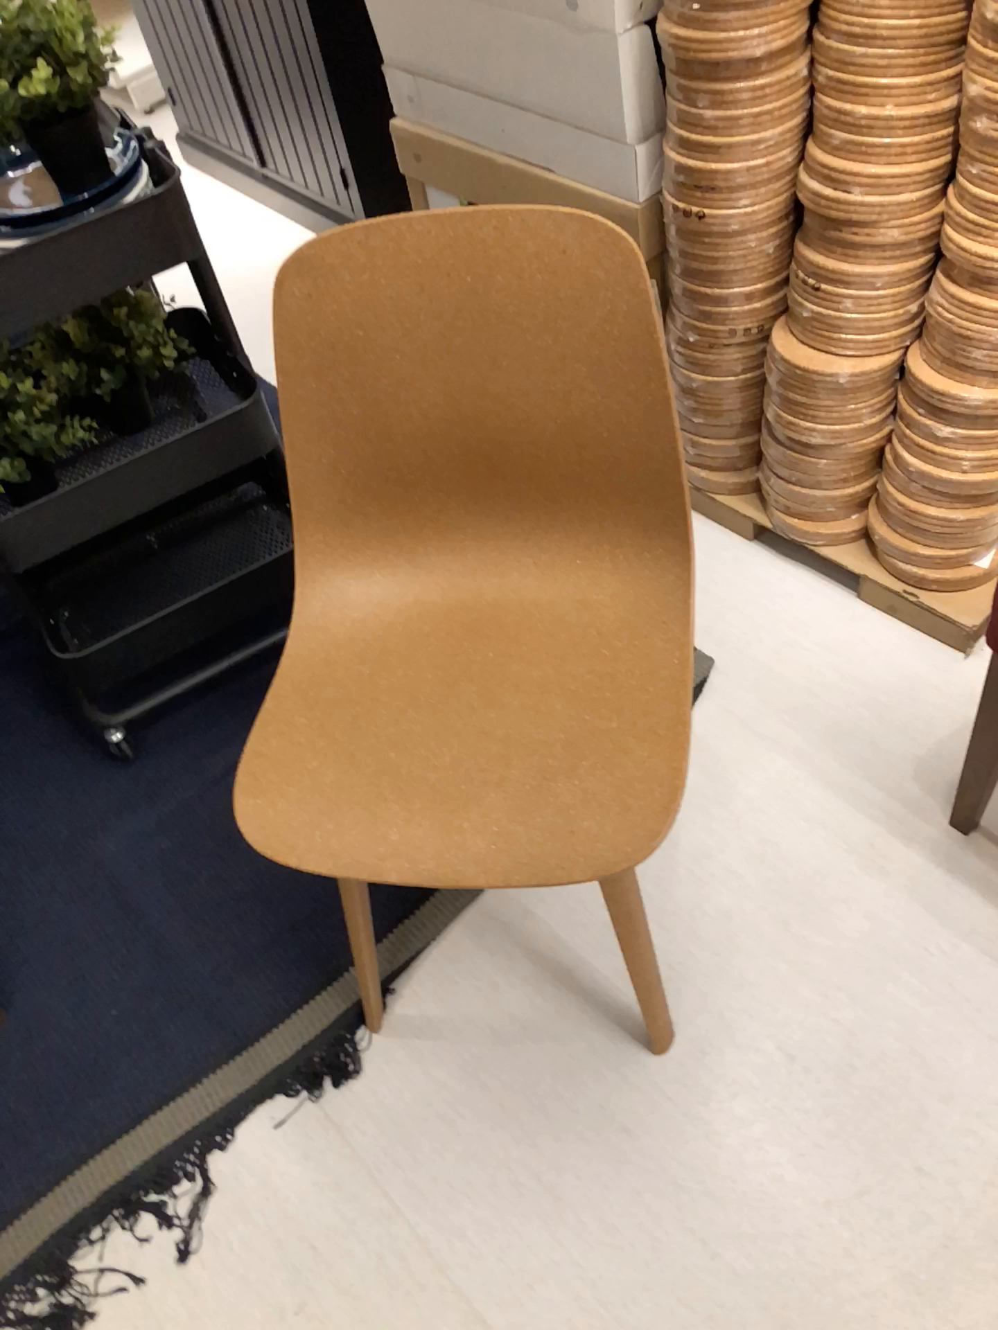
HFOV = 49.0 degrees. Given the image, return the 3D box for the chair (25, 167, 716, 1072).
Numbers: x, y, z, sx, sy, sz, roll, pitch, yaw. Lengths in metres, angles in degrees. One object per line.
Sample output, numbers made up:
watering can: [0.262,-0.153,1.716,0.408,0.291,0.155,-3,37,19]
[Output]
chair: [-0.006,0.001,1.144,0.440,0.746,0.553,0,51,12]
